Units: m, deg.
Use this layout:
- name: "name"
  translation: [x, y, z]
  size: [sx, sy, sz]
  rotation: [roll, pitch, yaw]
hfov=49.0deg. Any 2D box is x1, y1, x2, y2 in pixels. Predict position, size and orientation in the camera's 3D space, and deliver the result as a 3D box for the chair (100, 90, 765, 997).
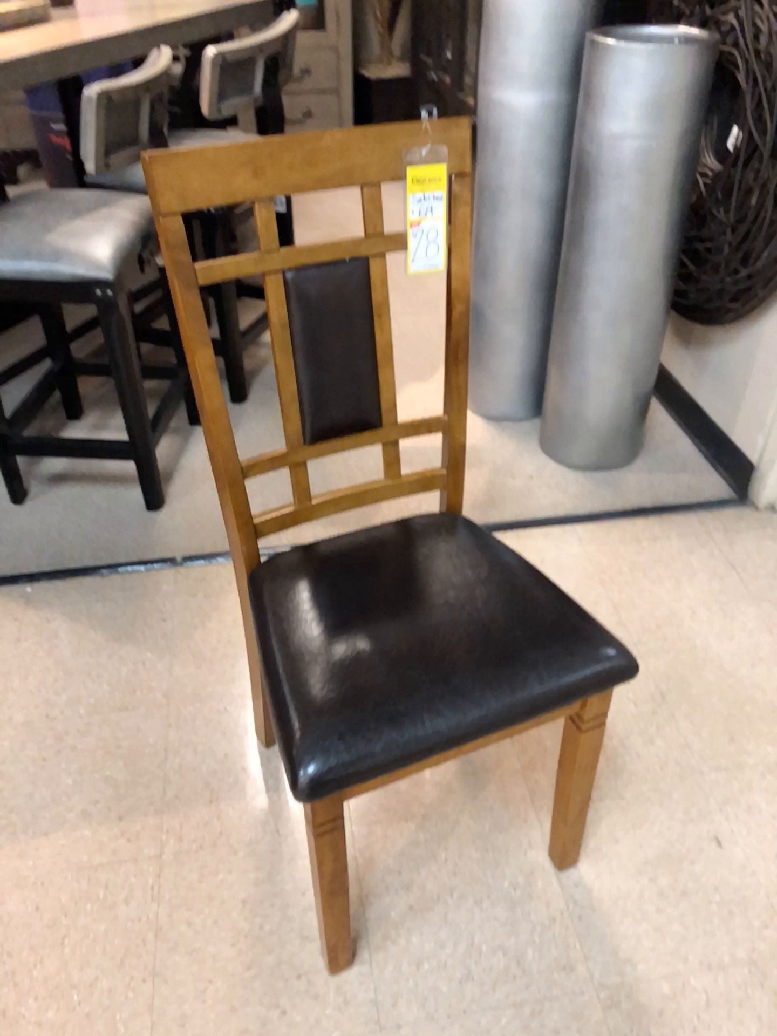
- name: "chair"
  translation: [-0.002, 0.060, 1.108]
  size: [0.450, 0.993, 0.503]
  rotation: [-15, 40, -19]
